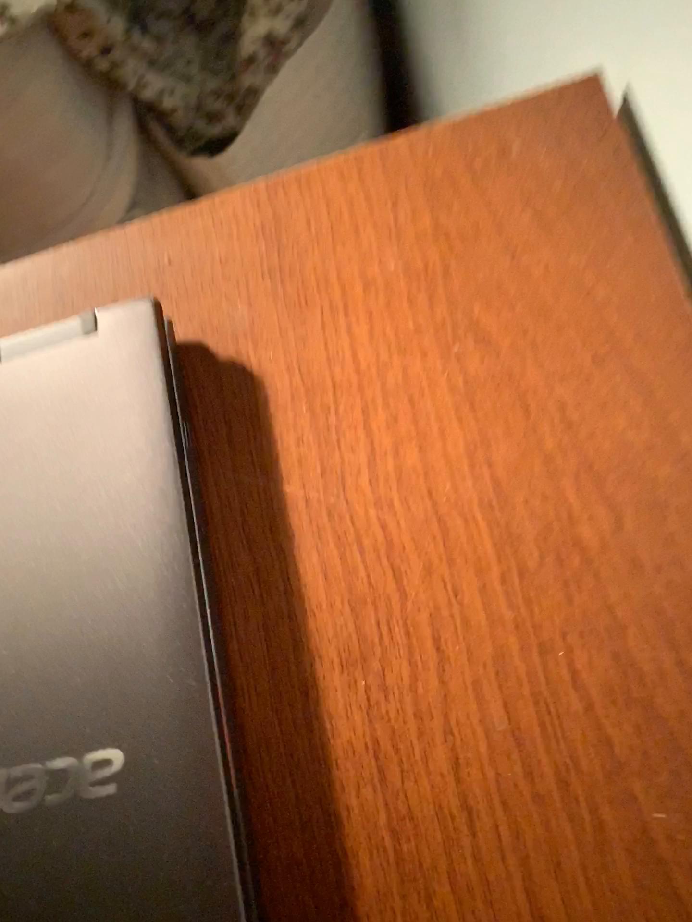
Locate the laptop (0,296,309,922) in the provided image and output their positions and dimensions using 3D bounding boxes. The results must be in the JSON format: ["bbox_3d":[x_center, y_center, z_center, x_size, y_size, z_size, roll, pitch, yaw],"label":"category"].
[{"bbox_3d":[-0.174,0.100,0.189,0.299,0.002,0.233,-14,74,8],"label":"laptop"}]
